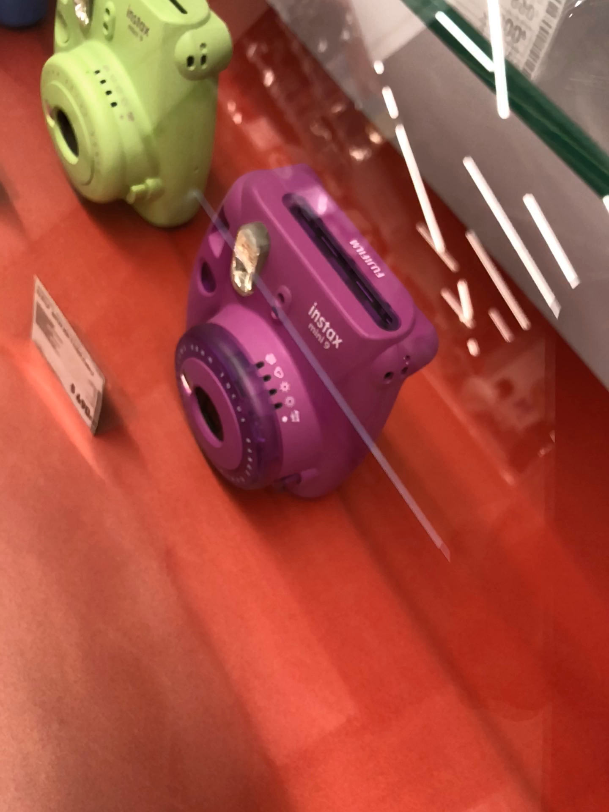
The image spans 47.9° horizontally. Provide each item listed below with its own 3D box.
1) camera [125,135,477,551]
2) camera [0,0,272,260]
[{"bbox_3d":[-0.013,-0.025,0.282,0.073,0.103,0.117,-22,66,-27],"label":"camera"},{"bbox_3d":[-0.097,-0.177,0.369,0.073,0.118,0.135,-28,69,-29],"label":"camera"}]
